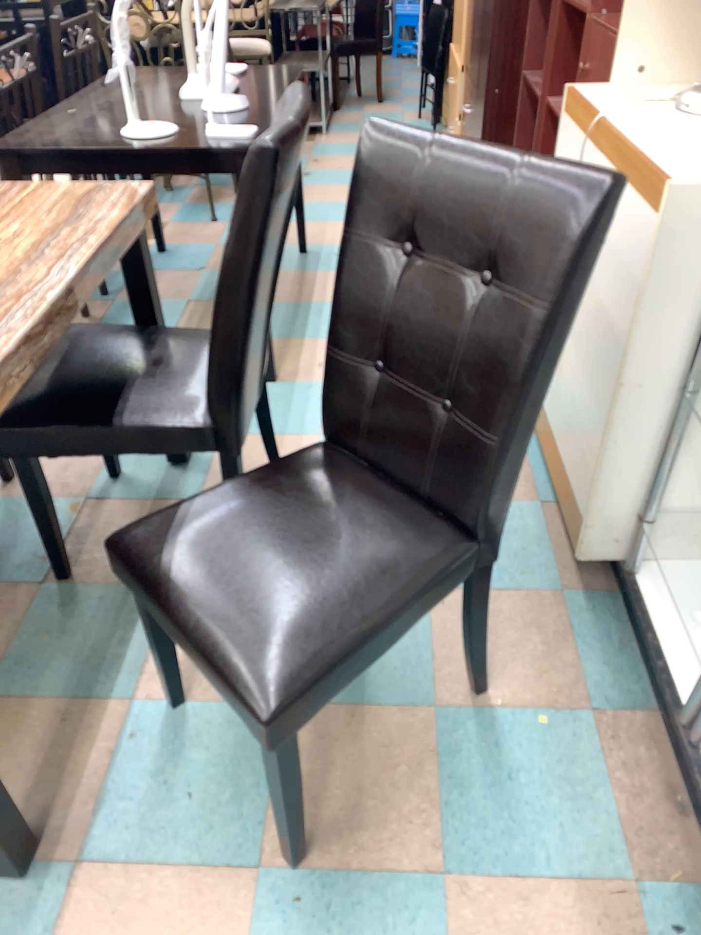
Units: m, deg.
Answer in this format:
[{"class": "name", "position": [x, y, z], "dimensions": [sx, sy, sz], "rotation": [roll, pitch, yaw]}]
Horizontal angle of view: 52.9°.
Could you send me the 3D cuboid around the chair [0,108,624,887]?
[{"class": "chair", "position": [-0.046, 0.047, 1.089], "dimensions": [0.555, 0.949, 0.486], "rotation": [-29, 45, -30]}]
